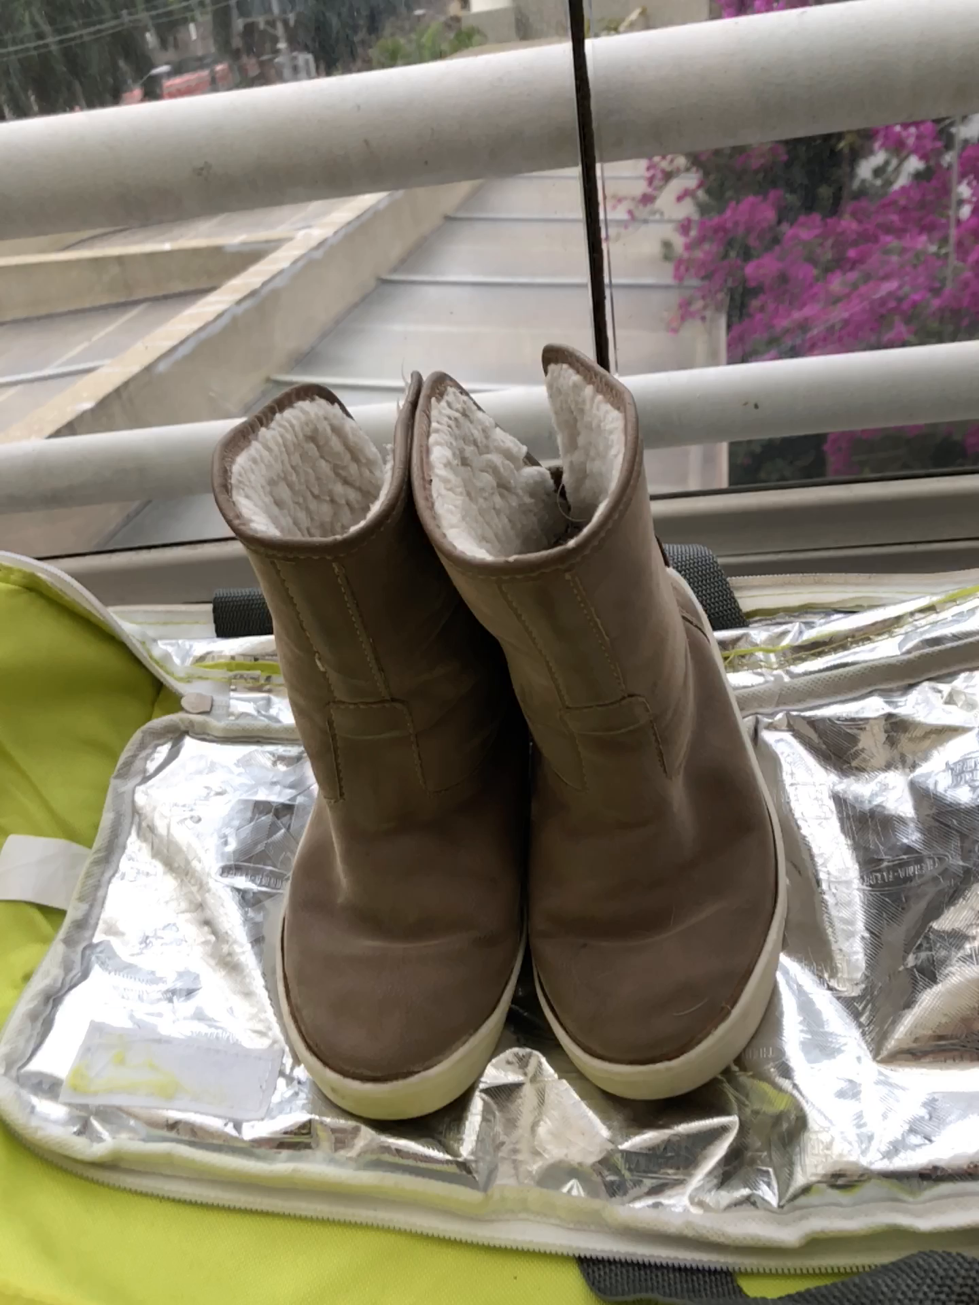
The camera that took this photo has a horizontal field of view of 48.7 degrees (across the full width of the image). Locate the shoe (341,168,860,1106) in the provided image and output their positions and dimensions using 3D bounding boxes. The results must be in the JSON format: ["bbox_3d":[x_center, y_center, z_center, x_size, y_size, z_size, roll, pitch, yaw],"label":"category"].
[{"bbox_3d":[0.034,0.004,0.311,0.089,0.169,0.201,-7,55,10],"label":"shoe"}]

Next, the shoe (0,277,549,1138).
[{"bbox_3d":[-0.041,0.026,0.323,0.089,0.169,0.191,-6,55,12],"label":"shoe"}]
